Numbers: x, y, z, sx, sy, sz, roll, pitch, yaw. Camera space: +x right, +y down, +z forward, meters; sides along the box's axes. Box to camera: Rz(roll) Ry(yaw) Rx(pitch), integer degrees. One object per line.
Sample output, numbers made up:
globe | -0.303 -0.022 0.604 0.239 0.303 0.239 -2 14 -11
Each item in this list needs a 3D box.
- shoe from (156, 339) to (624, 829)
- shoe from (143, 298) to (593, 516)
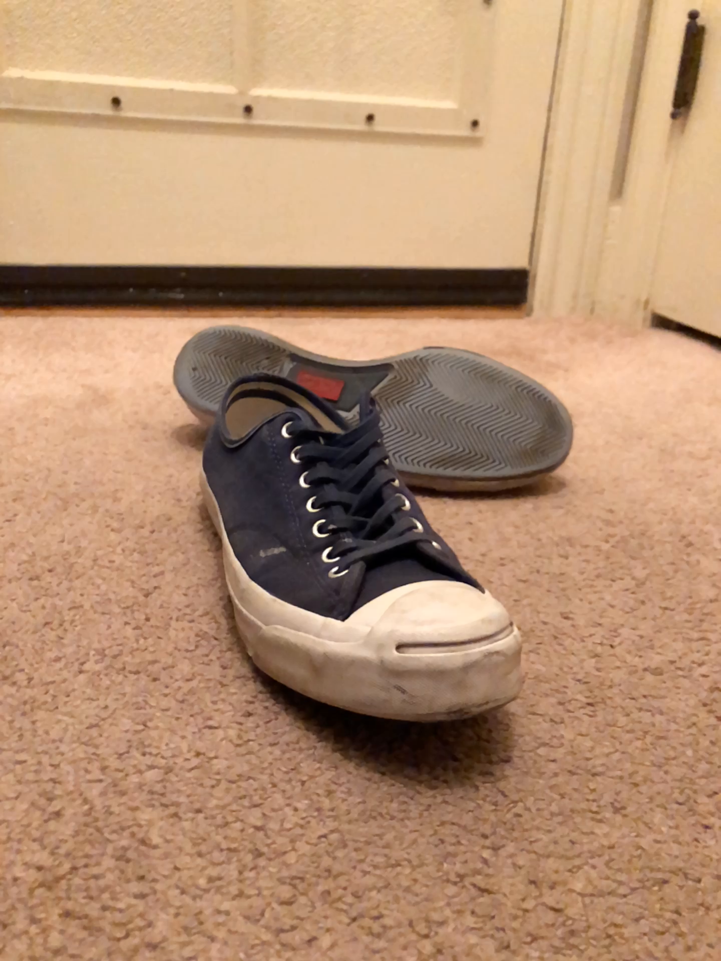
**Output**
shoe | -0.018 0.013 0.397 0.116 0.099 0.287 -6 24 -21
shoe | 0.007 -0.052 0.589 0.296 0.104 0.099 9 -5 11
